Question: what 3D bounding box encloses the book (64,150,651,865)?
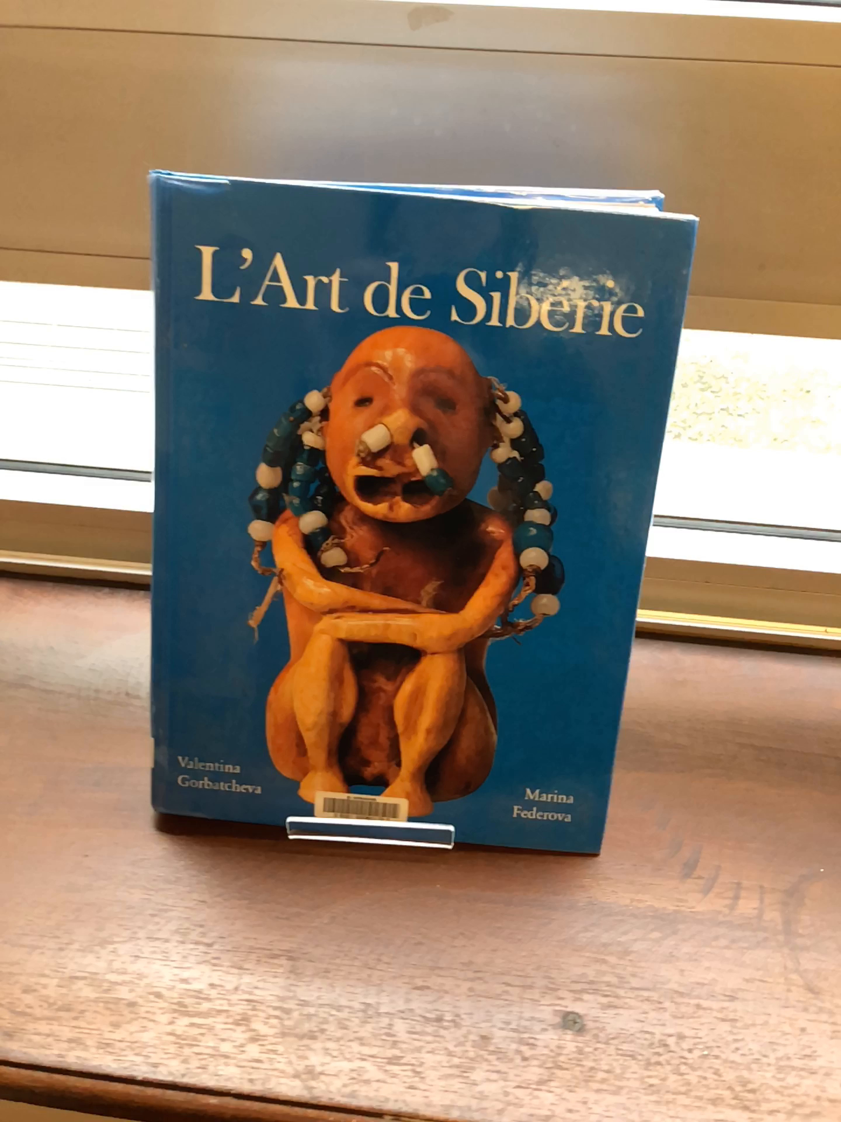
[{"bbox_3d":[-0.033,-0.013,0.473,0.254,0.349,0.044,2,18,0],"label":"book"}]
